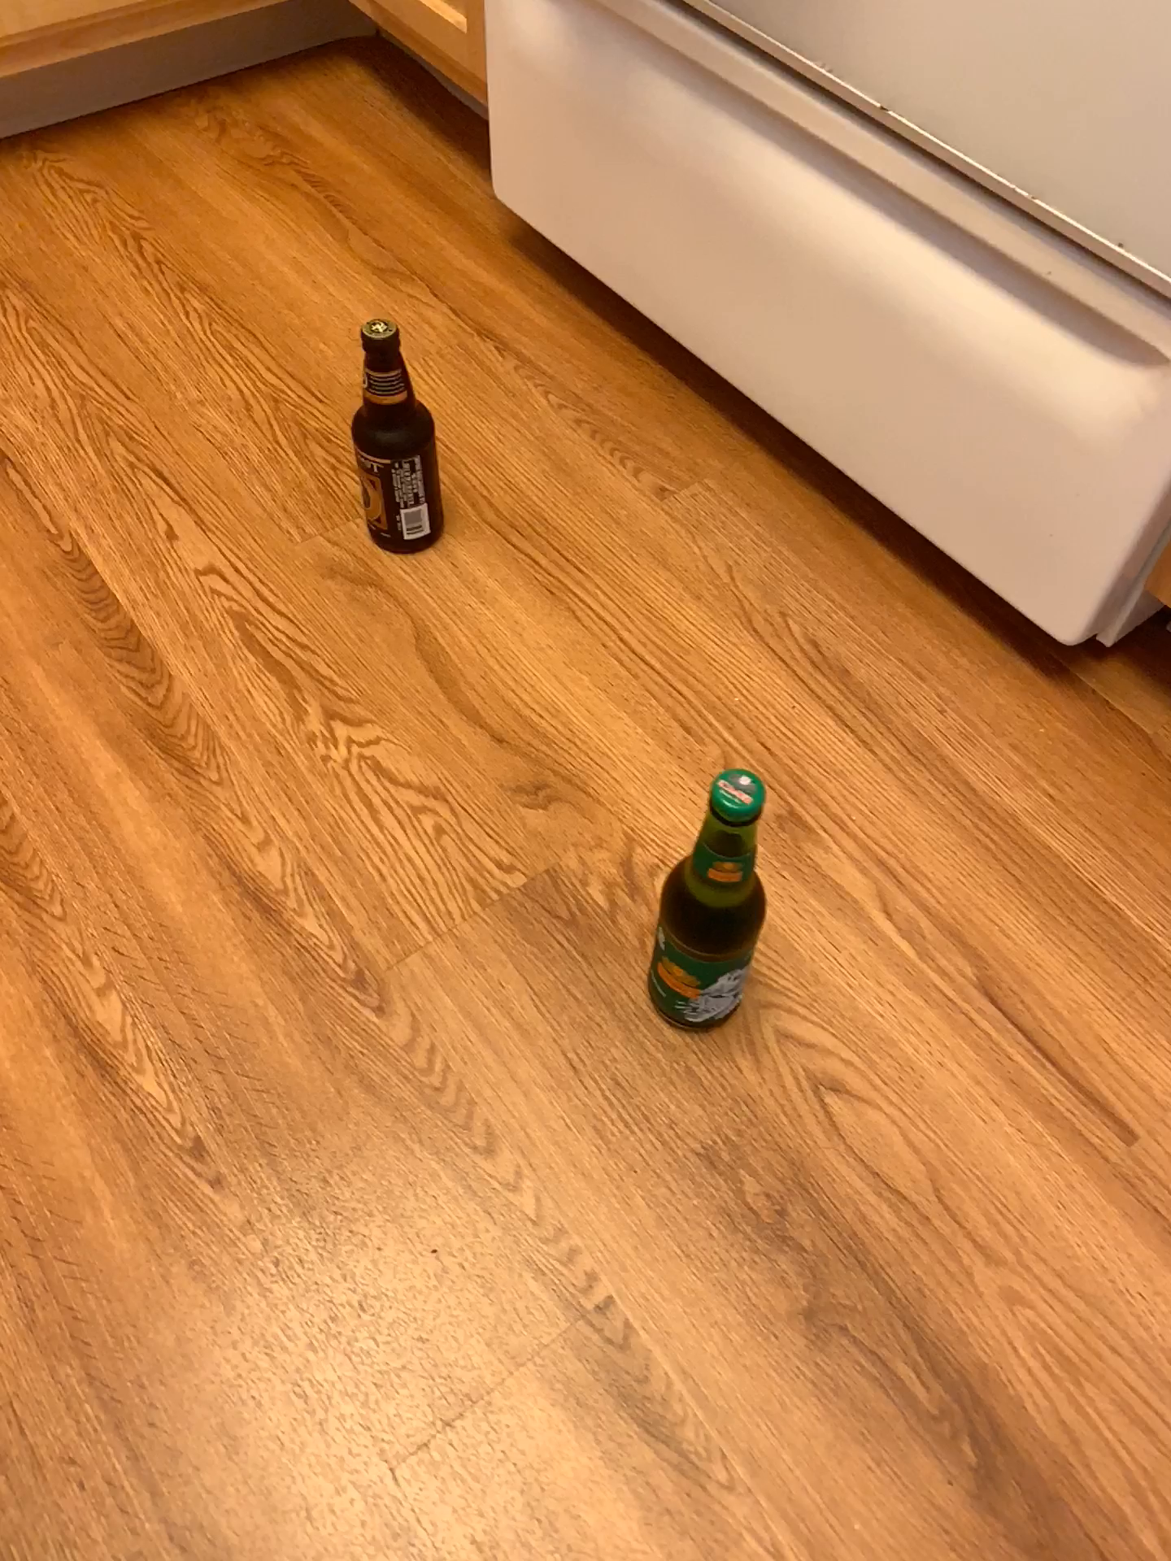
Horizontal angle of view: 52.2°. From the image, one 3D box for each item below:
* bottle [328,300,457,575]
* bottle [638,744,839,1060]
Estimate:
[{"bbox_3d":[-0.143,-0.256,0.911,0.060,0.189,0.070,-19,58,-15],"label":"bottle"},{"bbox_3d":[0.077,0.077,0.668,0.060,0.219,0.060,1,55,-2],"label":"bottle"}]
